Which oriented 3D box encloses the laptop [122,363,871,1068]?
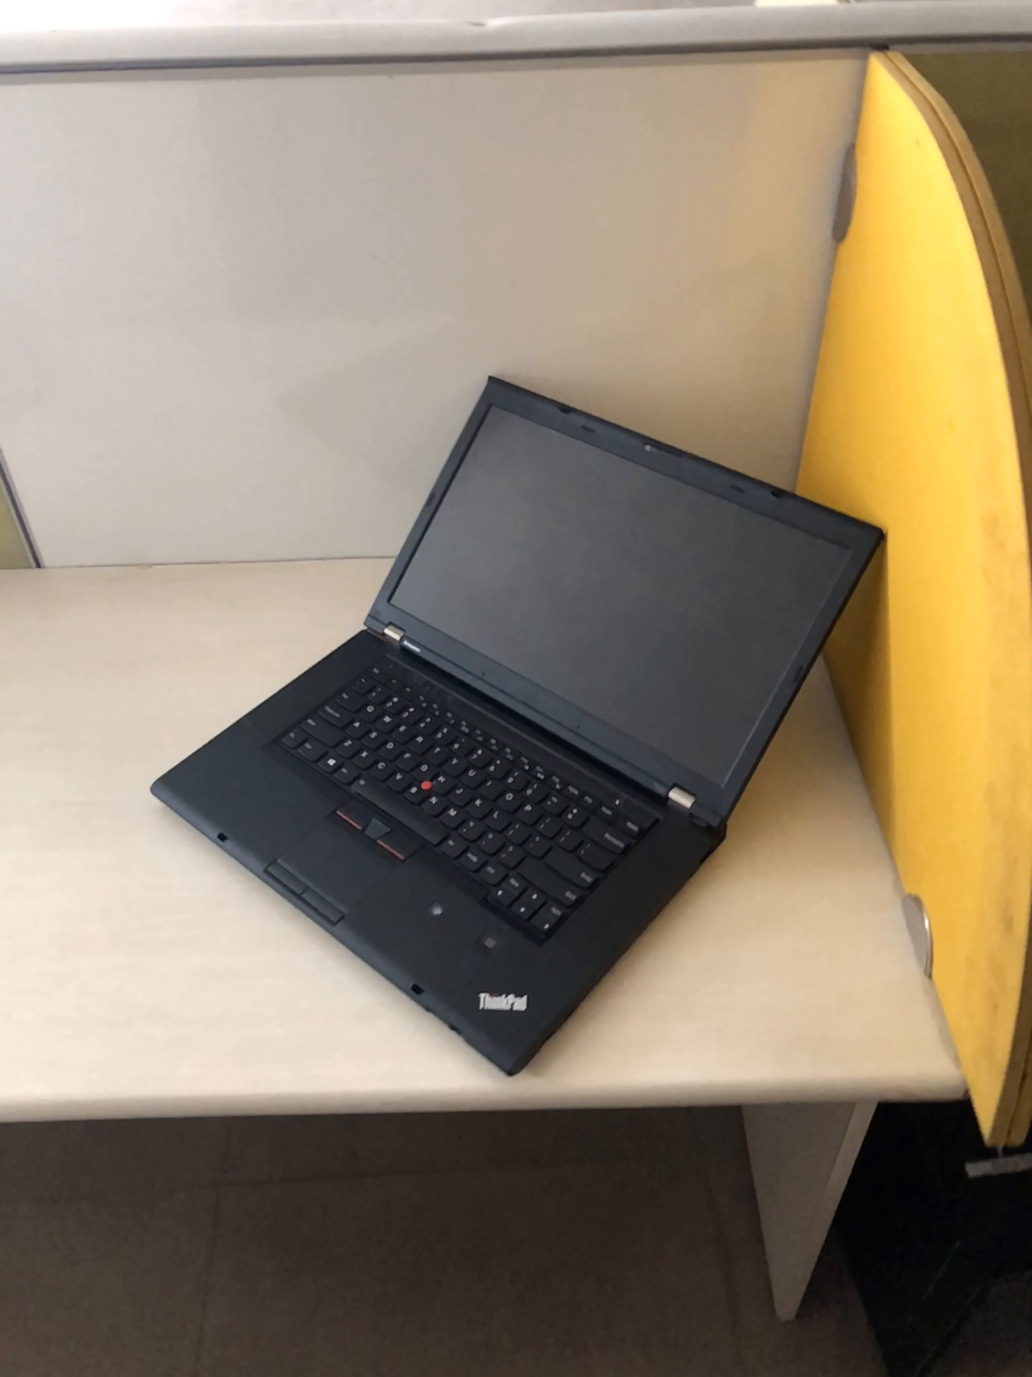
[{"bbox_3d":[-0.004,-0.024,0.842,0.353,0.143,0.419,30,55,28],"label":"laptop"}]
